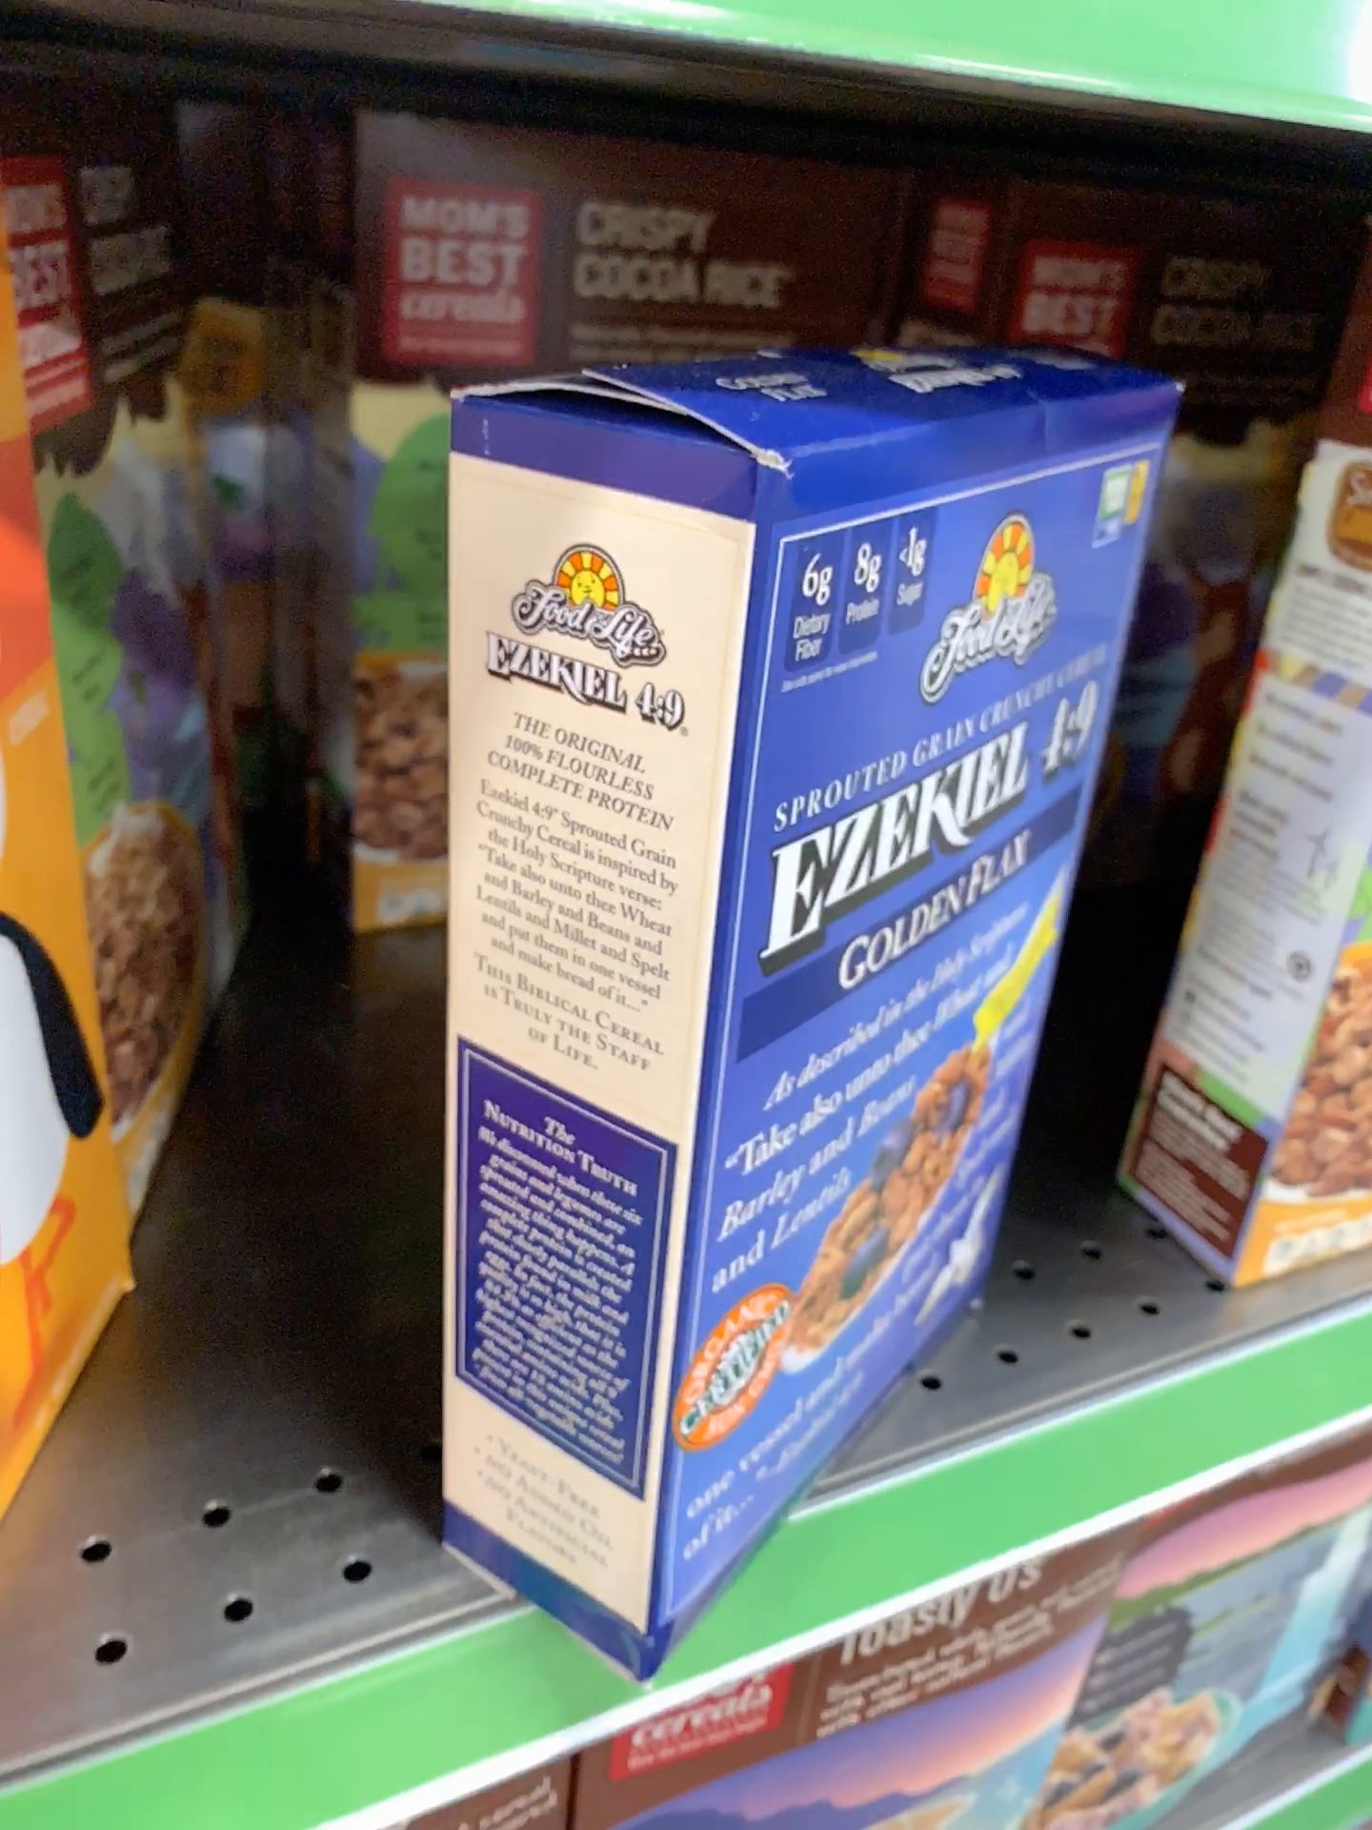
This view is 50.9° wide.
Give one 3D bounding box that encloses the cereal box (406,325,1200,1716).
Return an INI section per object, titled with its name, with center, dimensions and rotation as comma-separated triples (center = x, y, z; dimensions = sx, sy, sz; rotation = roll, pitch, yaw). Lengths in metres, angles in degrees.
[cereal box]
center = 0.024, 0.014, 0.307
dimensions = 0.060, 0.249, 0.161
rotation = 22, 32, 31
